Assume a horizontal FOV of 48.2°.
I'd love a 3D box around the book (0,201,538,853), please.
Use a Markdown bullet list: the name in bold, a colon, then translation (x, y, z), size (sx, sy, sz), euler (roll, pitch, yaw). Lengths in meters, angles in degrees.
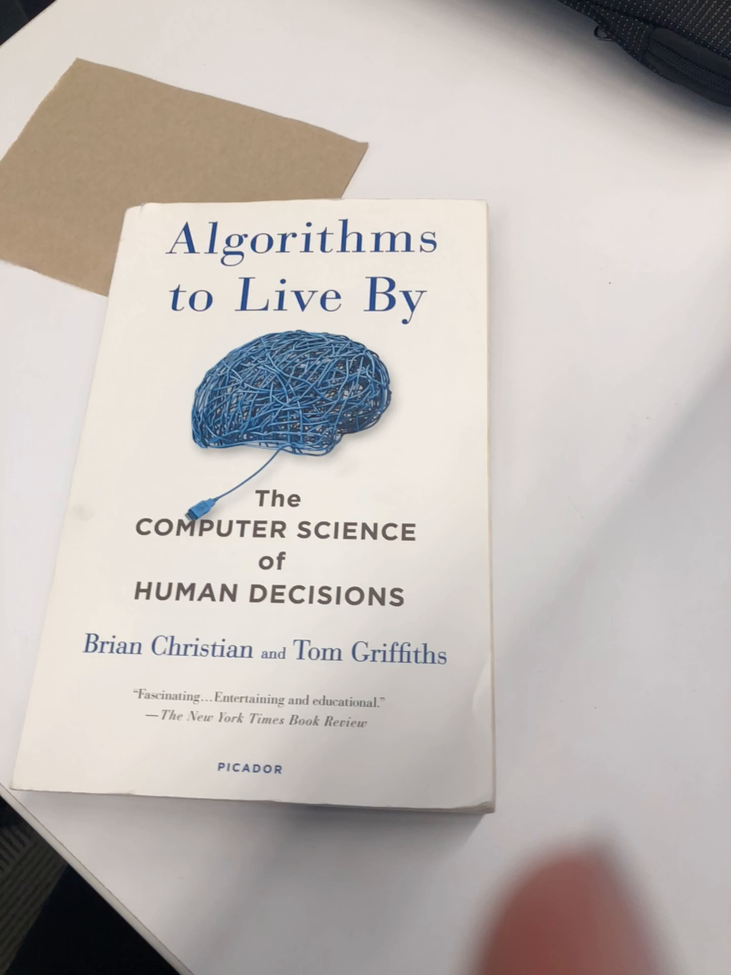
- **book**: translation (-0.028, 0.002, 0.285), size (0.160, 0.040, 0.220), euler (1, 67, 5)
